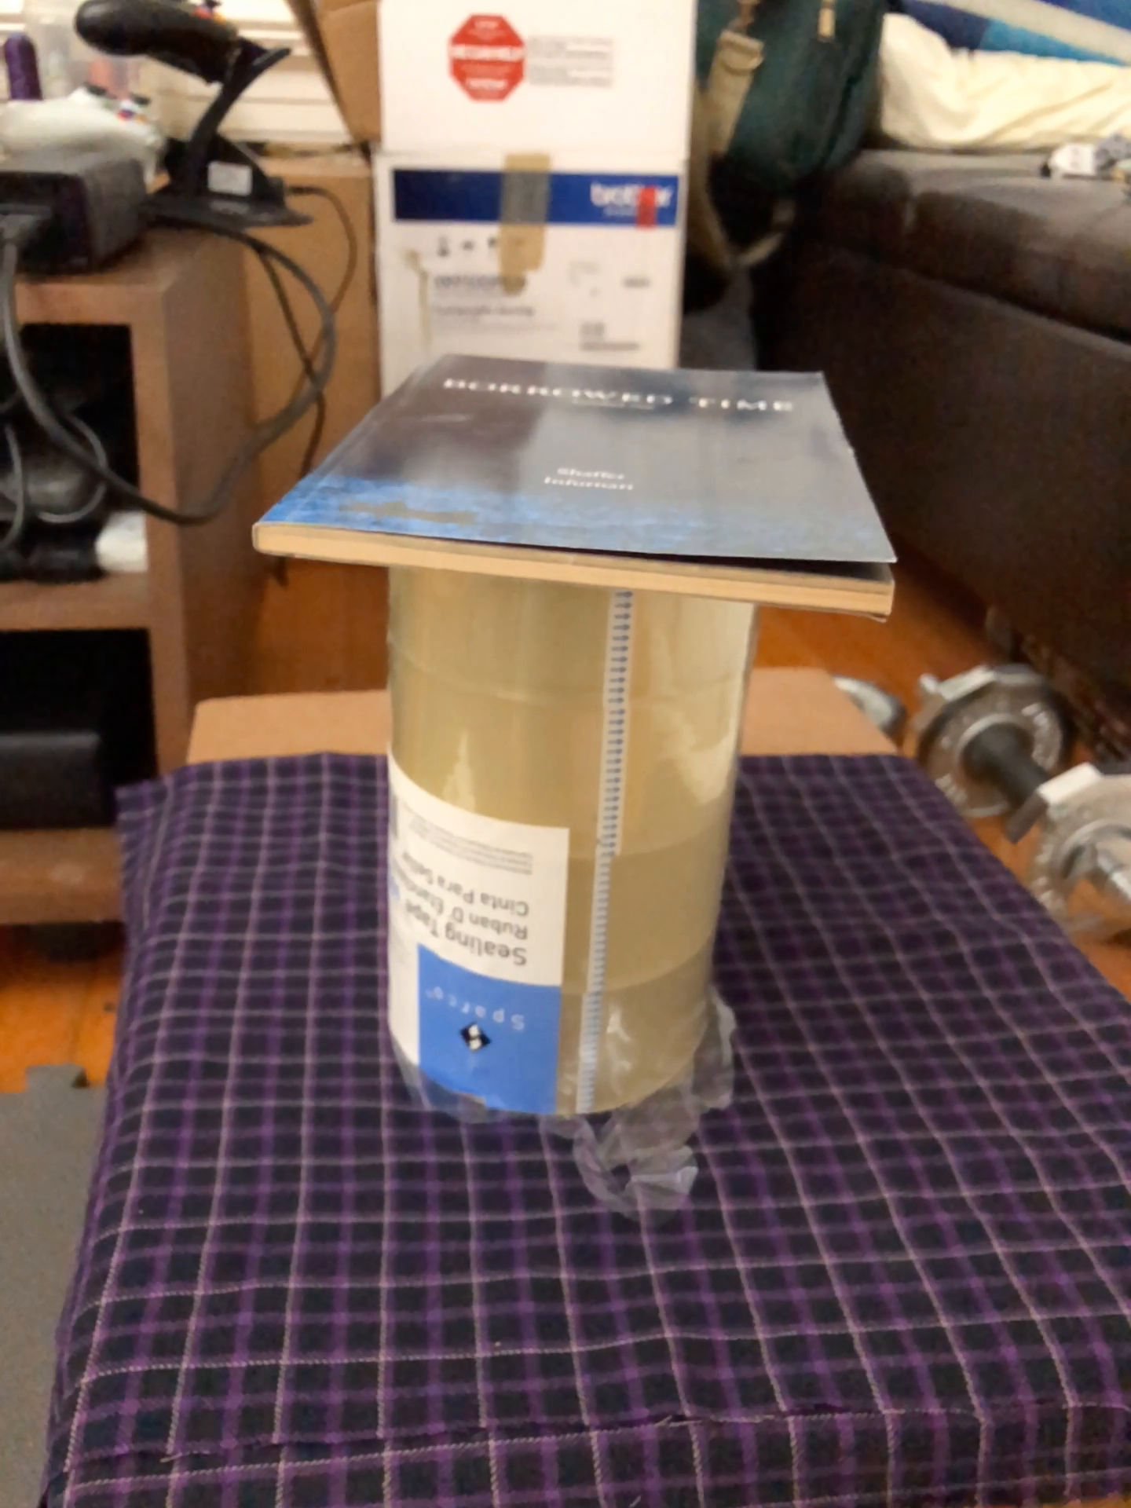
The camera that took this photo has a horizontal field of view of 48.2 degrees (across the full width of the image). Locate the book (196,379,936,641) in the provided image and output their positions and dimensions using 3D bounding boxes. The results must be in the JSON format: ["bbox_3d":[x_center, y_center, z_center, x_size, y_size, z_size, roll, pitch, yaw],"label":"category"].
[{"bbox_3d":[0.009,-0.084,0.378,0.160,0.010,0.231,5,25,3],"label":"book"}]
